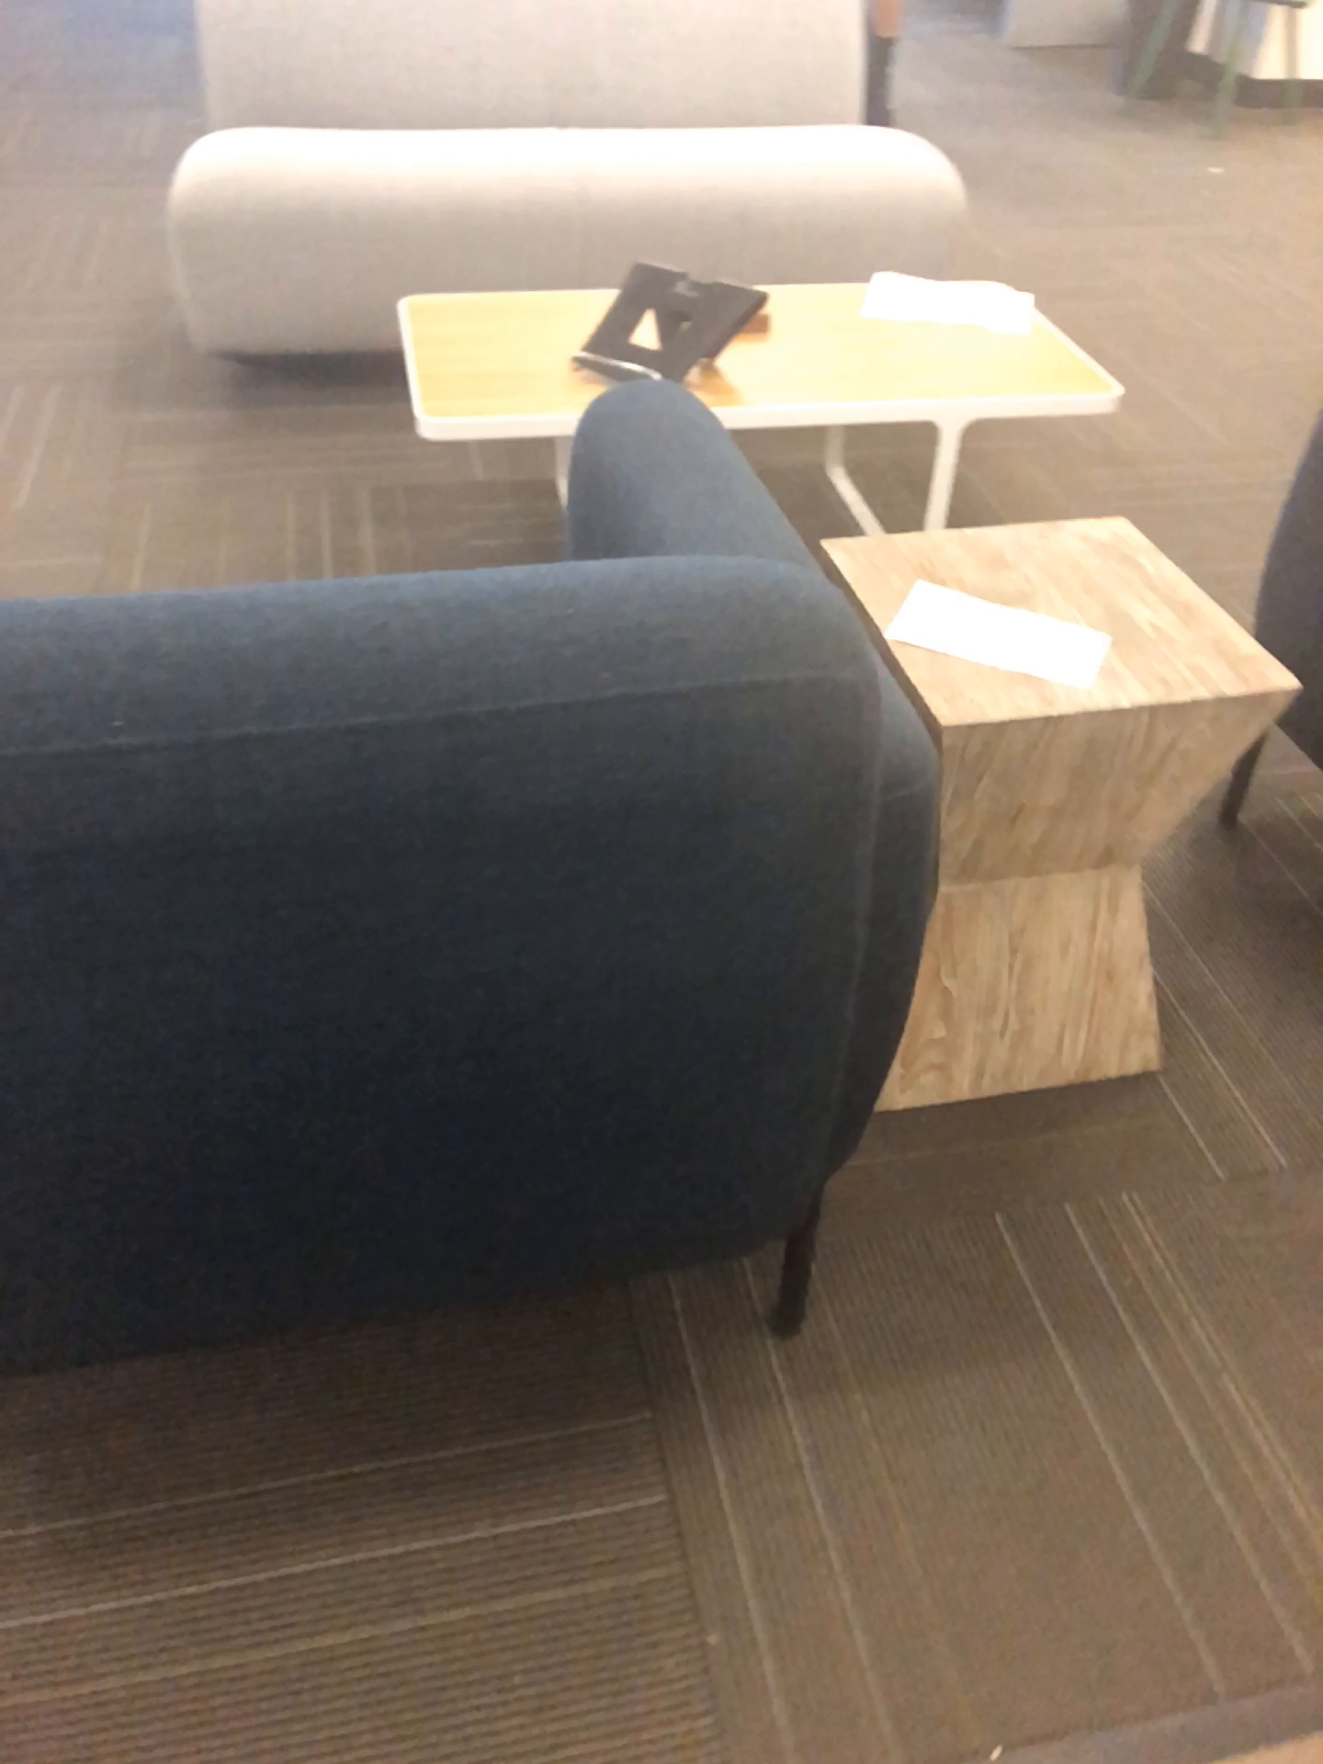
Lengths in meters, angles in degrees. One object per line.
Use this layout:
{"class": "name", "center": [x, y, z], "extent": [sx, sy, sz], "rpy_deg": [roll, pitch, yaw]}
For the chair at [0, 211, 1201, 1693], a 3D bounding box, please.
{"class": "chair", "center": [-0.272, -0.020, 1.226], "extent": [0.921, 0.783, 0.847], "rpy_deg": [-6, 40, -10]}
